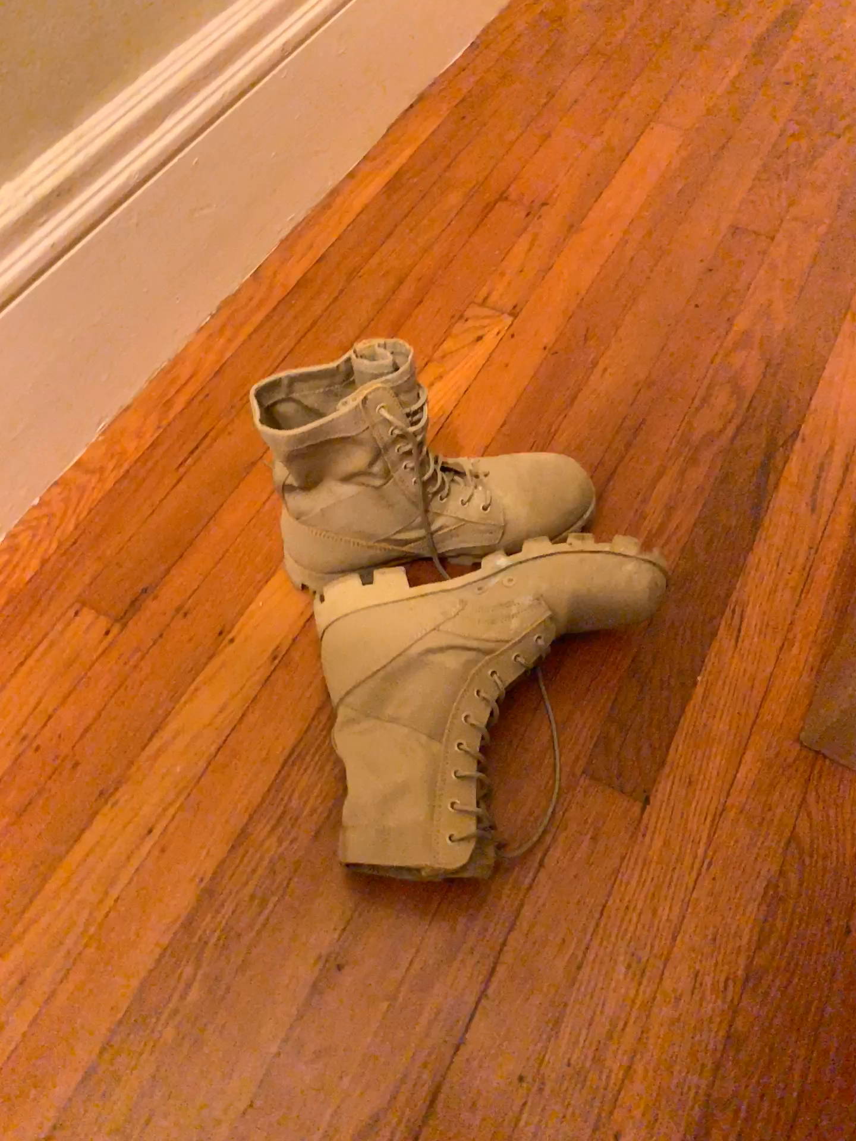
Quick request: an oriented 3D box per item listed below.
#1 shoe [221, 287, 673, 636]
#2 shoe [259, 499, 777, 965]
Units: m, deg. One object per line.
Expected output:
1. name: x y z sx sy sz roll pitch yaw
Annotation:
1. shoe: 0.011 -0.078 0.689 0.290 0.199 0.120 -12 59 -6
2. shoe: 0.048 0.113 0.637 0.290 0.110 0.261 -11 65 -5
